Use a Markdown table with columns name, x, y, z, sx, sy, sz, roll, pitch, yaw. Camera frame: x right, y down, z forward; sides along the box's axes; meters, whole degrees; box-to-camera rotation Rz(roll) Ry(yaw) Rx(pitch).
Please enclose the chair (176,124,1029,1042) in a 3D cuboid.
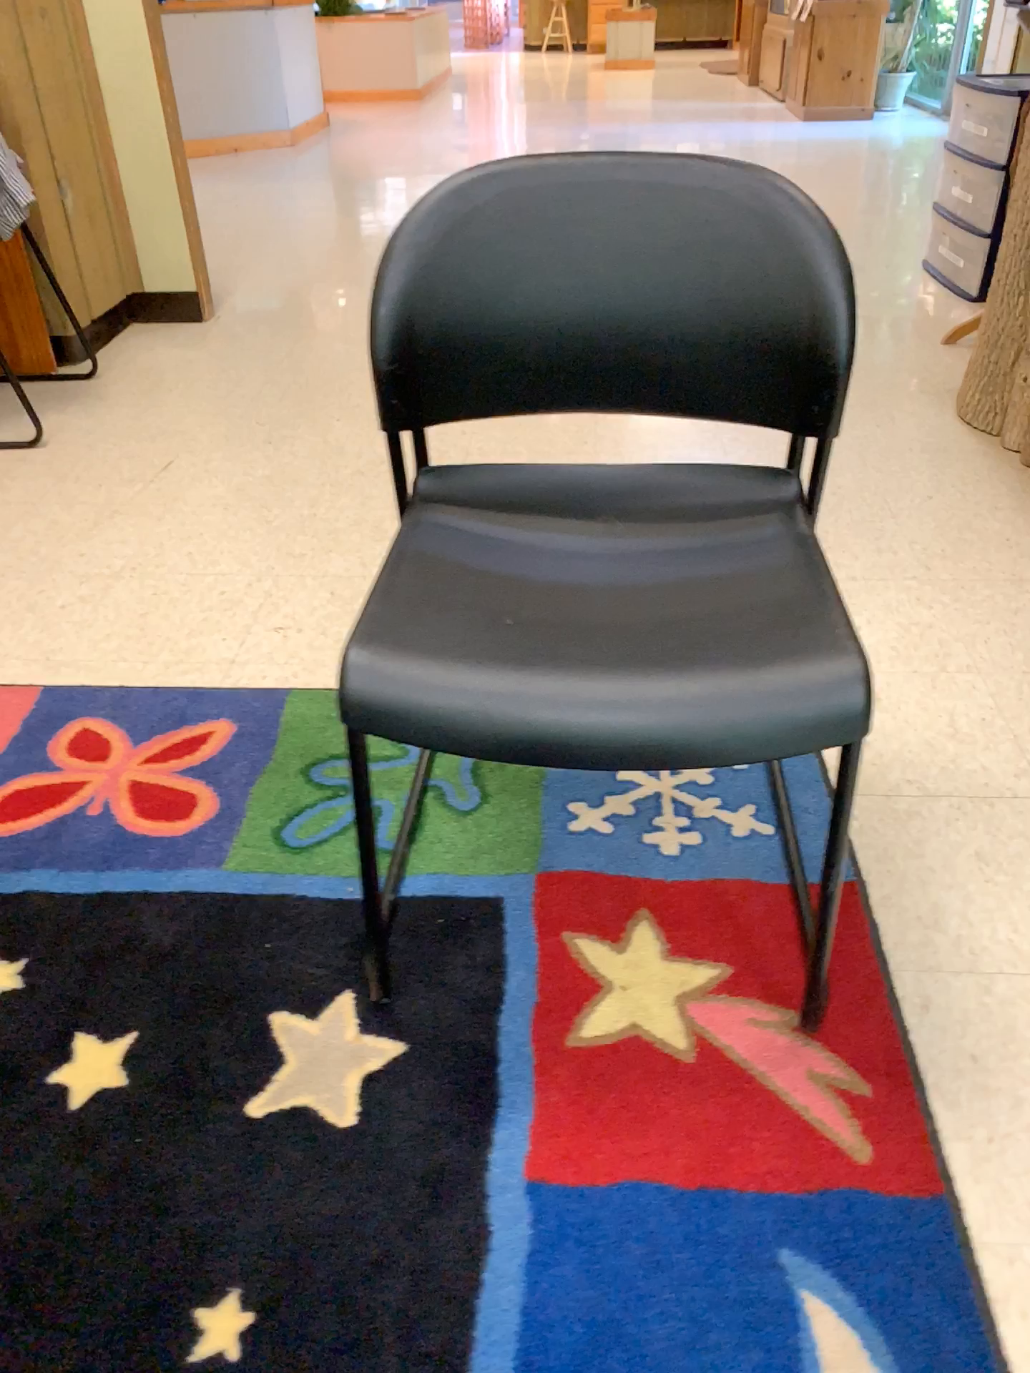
| name | x | y | z | sx | sy | sz | roll | pitch | yaw |
| --- | --- | --- | --- | --- | --- | --- | --- | --- | --- |
| chair | 0.085 | -0.112 | 1.103 | 0.570 | 0.785 | 0.533 | 1 | 33 | 3 |
